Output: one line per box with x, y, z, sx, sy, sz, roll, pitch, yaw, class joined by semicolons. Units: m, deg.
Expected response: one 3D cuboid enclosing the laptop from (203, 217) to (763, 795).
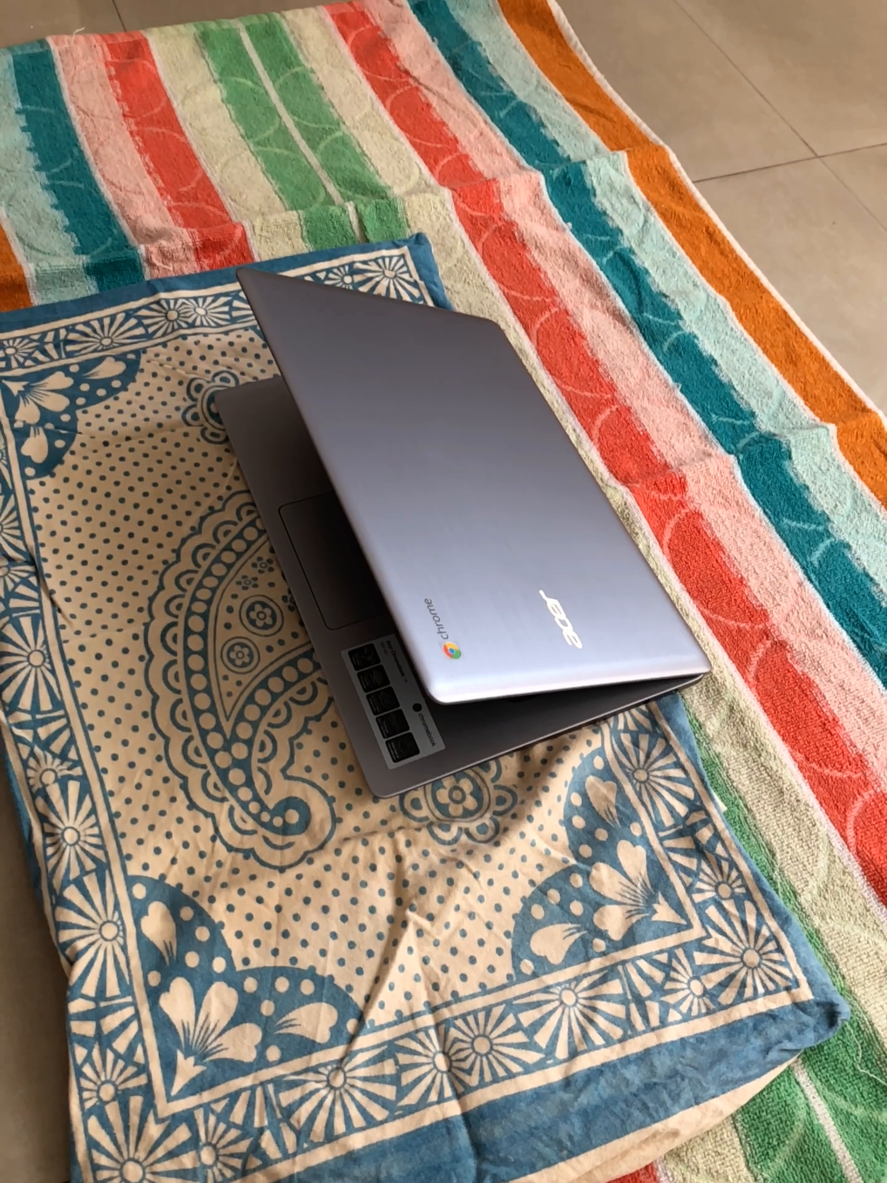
0.006;-0.072;0.619;0.222;0.105;0.320;-18;61;-15;laptop
